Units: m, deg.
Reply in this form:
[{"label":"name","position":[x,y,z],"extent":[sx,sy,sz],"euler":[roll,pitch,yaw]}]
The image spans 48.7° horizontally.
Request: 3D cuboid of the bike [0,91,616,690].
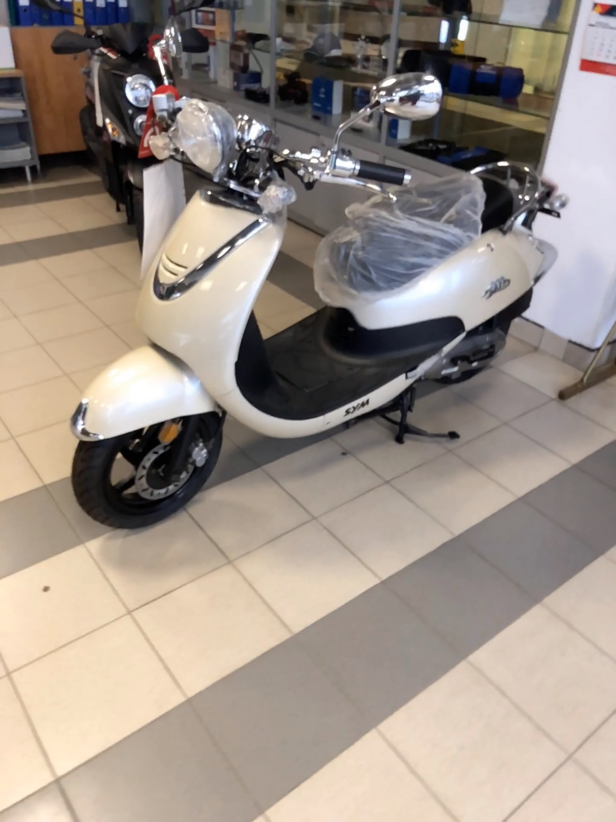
[{"label":"bike","position":[0.136,-0.248,2.004],"extent":[1.685,0.963,0.807],"euler":[-22,41,-29]}]
